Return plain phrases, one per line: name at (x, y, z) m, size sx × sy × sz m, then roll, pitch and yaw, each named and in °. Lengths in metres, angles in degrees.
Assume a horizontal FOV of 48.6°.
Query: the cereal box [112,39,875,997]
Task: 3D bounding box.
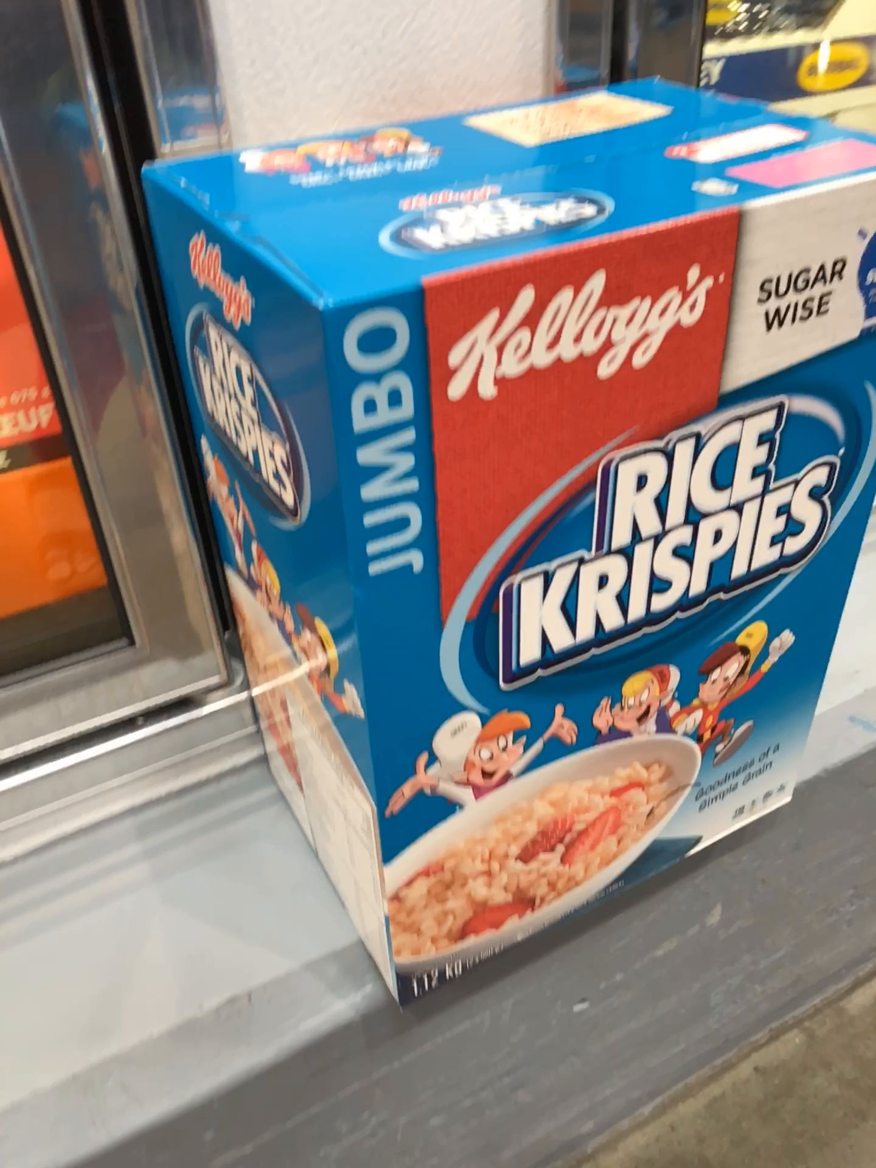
cereal box at (0.037, -0.029, 0.418) m, size 0.240 × 0.319 × 0.161 m, roll -20°, pitch 42°, yaw -22°
